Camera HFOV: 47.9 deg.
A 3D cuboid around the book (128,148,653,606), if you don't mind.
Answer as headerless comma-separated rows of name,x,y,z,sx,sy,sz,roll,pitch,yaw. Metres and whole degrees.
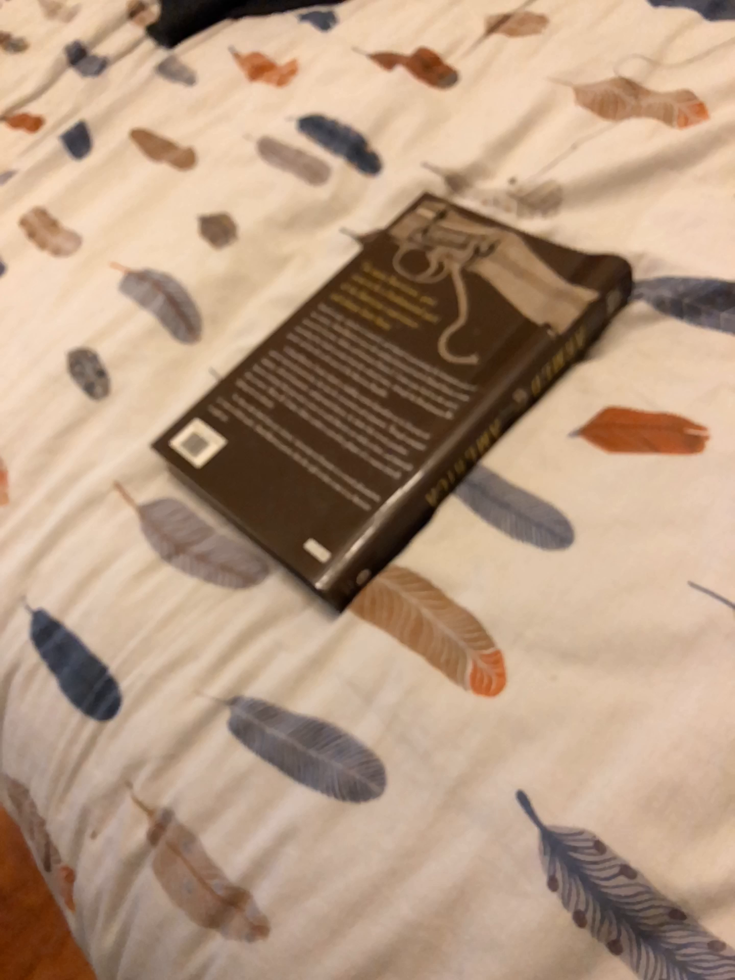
book,0.007,-0.080,0.459,0.240,0.030,0.181,-47,53,-11
